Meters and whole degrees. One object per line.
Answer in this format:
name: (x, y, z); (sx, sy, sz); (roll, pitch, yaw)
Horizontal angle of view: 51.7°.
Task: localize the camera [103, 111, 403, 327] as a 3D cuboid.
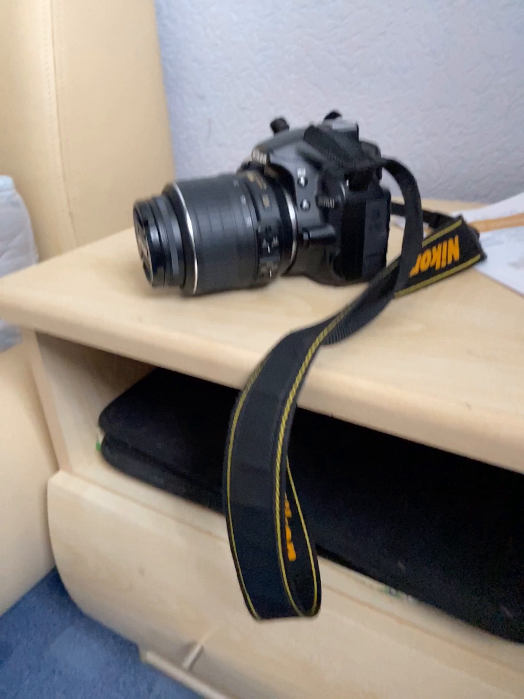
camera: (-0.010, -0.096, 0.355); (0.152, 0.091, 0.119); (-14, 31, -19)
